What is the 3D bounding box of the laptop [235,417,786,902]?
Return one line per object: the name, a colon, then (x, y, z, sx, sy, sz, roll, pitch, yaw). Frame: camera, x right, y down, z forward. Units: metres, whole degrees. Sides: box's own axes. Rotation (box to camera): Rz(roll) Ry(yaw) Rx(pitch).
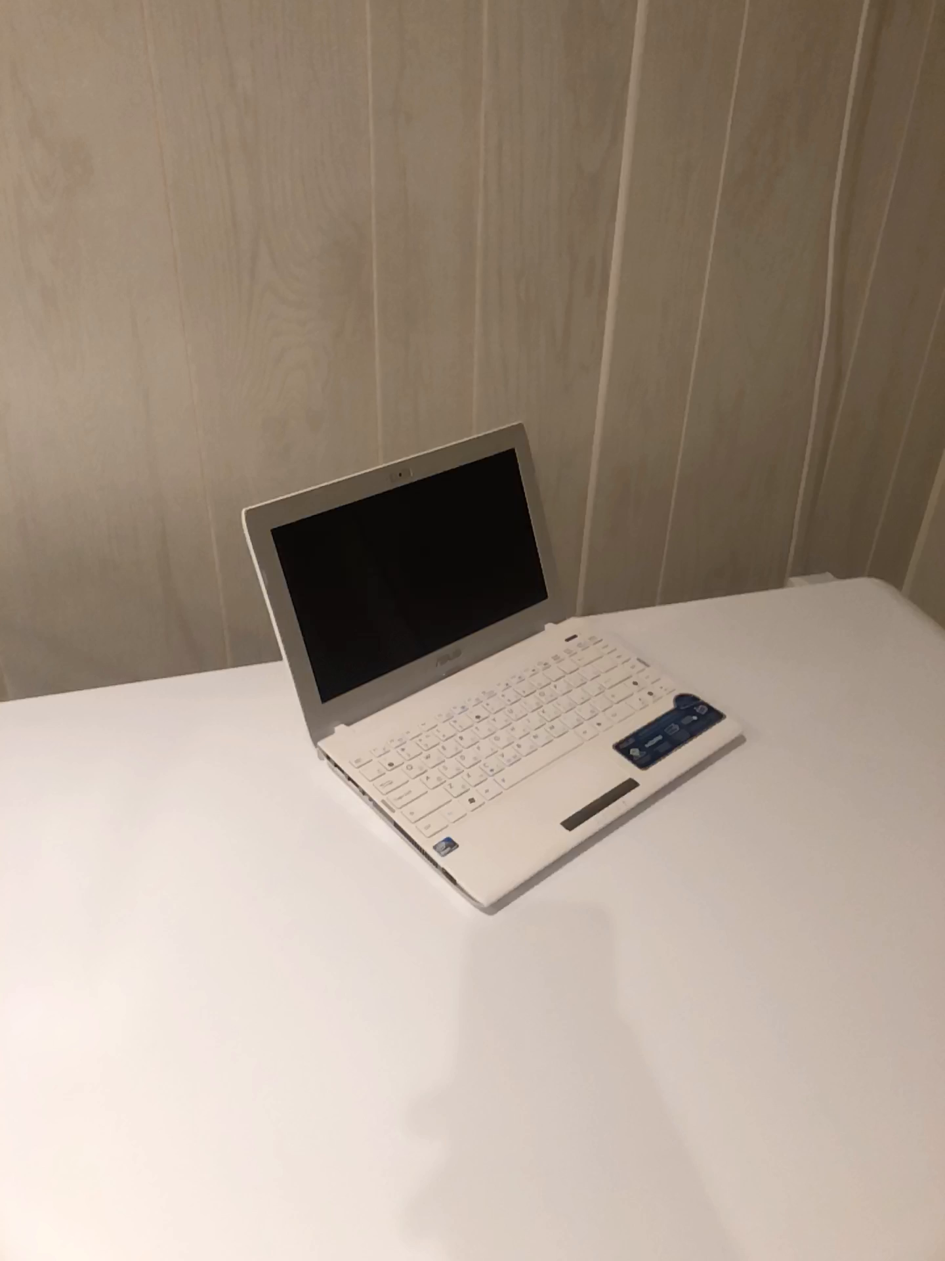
laptop: (0.025, -0.005, 0.822, 0.289, 0.168, 0.292, -25, 44, -34)
